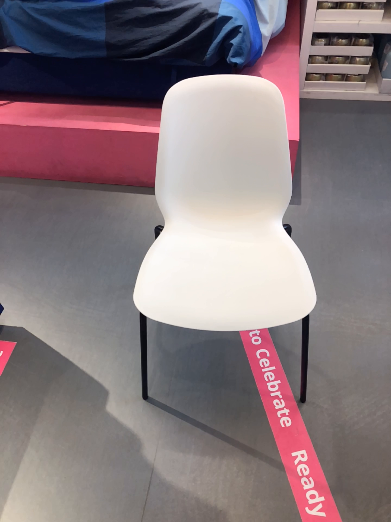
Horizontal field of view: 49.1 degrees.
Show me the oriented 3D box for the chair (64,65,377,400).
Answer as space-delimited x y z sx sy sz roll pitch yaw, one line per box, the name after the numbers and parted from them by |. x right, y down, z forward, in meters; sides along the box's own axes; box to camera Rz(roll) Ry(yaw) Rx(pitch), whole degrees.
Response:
0.058 -0.028 1.145 0.510 0.755 0.493 0 48 3 | chair
